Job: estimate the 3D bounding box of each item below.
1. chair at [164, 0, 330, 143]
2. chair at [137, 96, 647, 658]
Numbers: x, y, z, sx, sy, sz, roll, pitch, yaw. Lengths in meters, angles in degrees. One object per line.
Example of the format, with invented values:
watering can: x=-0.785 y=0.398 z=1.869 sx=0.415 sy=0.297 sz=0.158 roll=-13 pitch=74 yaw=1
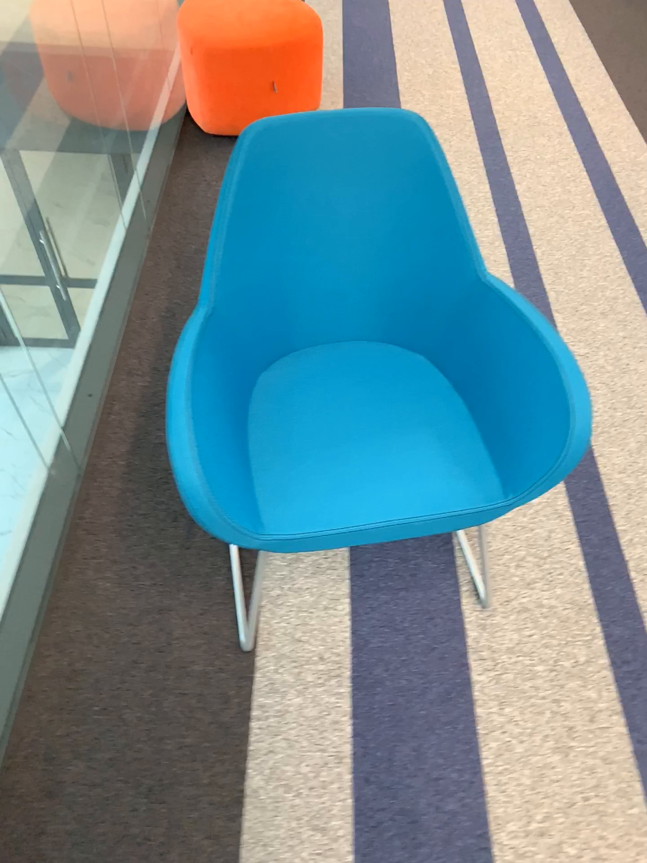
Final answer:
chair: x=-0.351 y=-1.670 z=2.953 sx=0.640 sy=0.396 sz=0.653 roll=-7 pitch=53 yaw=-8
chair: x=0.053 y=-0.070 z=1.310 sx=0.671 sy=0.836 sz=0.653 roll=-7 pitch=53 yaw=-8
